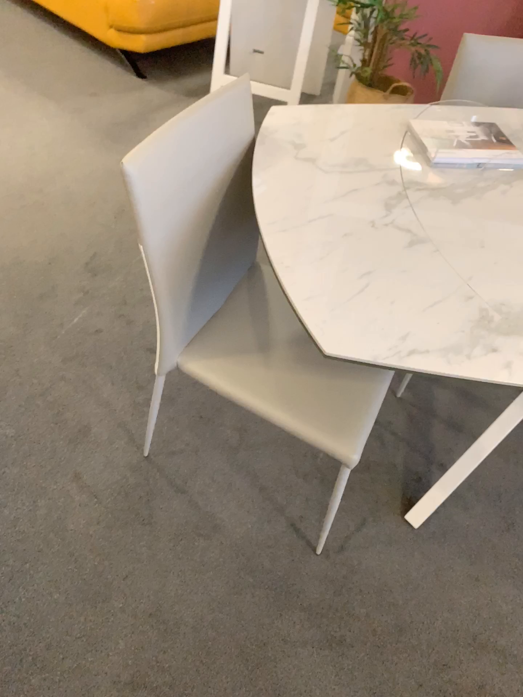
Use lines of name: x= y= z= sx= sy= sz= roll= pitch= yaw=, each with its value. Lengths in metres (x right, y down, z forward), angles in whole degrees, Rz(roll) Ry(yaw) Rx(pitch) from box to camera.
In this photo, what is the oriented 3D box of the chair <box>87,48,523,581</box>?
chair: x=0.091 y=-0.027 z=1.127 sx=0.581 sy=0.823 sz=0.536 roll=24 pitch=50 yaw=10
